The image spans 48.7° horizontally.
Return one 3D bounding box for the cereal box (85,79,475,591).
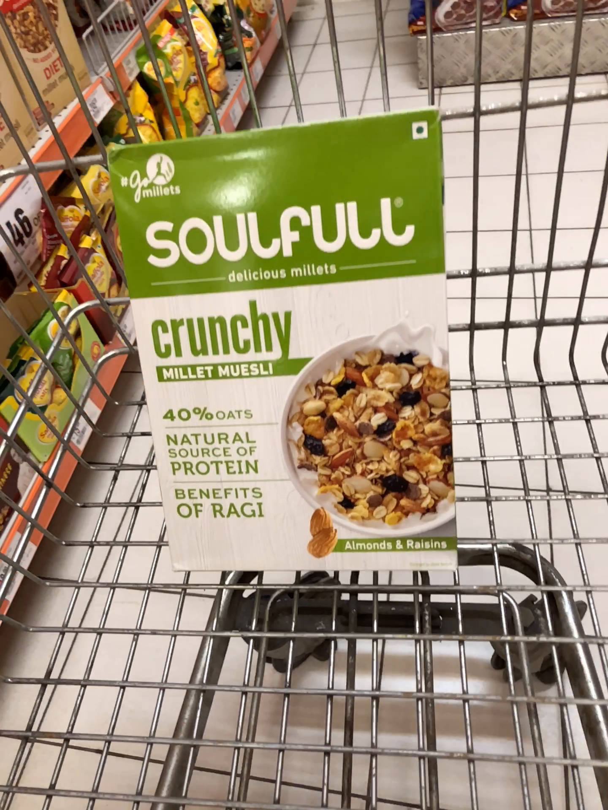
[{"bbox_3d":[-0.002,-0.027,0.359,0.170,0.239,0.070,-3,14,10],"label":"cereal box"}]
